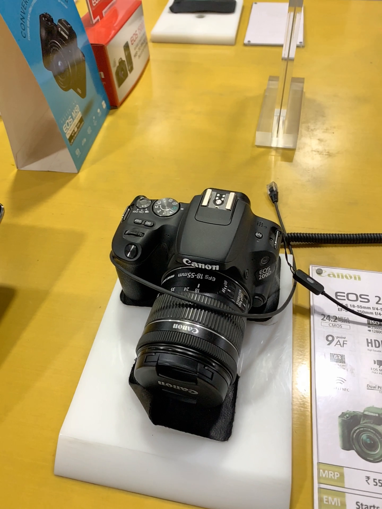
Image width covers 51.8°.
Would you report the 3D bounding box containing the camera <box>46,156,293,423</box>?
[{"bbox_3d":[0.000,0.013,0.277,0.120,0.070,0.160,8,50,10],"label":"camera"}]
